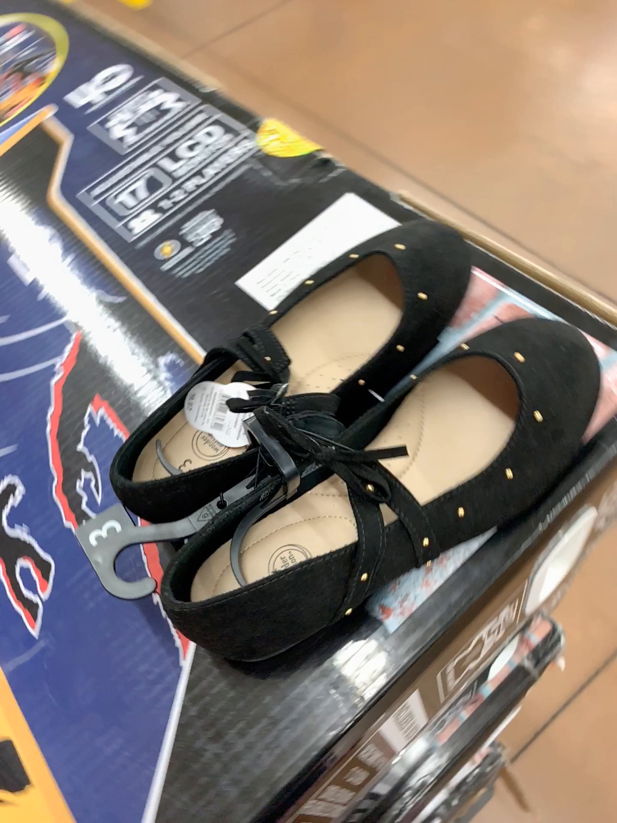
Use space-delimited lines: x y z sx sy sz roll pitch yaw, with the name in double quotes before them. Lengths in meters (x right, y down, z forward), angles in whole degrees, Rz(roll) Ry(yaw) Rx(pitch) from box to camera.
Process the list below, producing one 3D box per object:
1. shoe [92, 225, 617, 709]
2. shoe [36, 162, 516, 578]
"shoe" 0.039 0.019 0.293 0.240 0.070 0.090 -31 57 -10
"shoe" -0.009 -0.031 0.361 0.250 0.070 0.090 -37 59 -14
